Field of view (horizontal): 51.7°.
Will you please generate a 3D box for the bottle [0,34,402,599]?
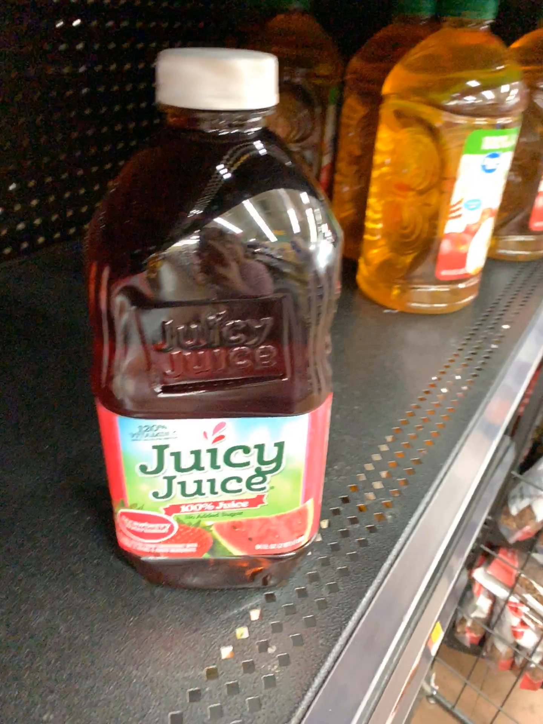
[{"bbox_3d":[-0.034,-0.006,0.273,0.125,0.254,0.091,0,33,-6],"label":"bottle"}]
